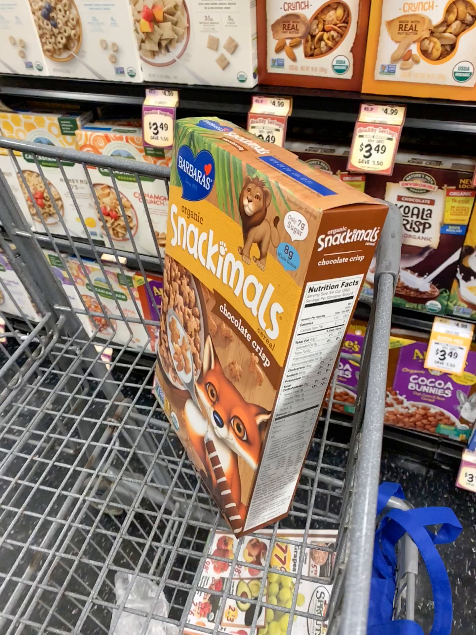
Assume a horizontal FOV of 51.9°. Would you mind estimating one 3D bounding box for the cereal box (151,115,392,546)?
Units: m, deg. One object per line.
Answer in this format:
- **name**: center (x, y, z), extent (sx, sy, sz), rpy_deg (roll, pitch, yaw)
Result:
- **cereal box**: center (-0.005, 0.010, 0.375), extent (0.050, 0.269, 0.181), rpy_deg (-11, 38, -29)
